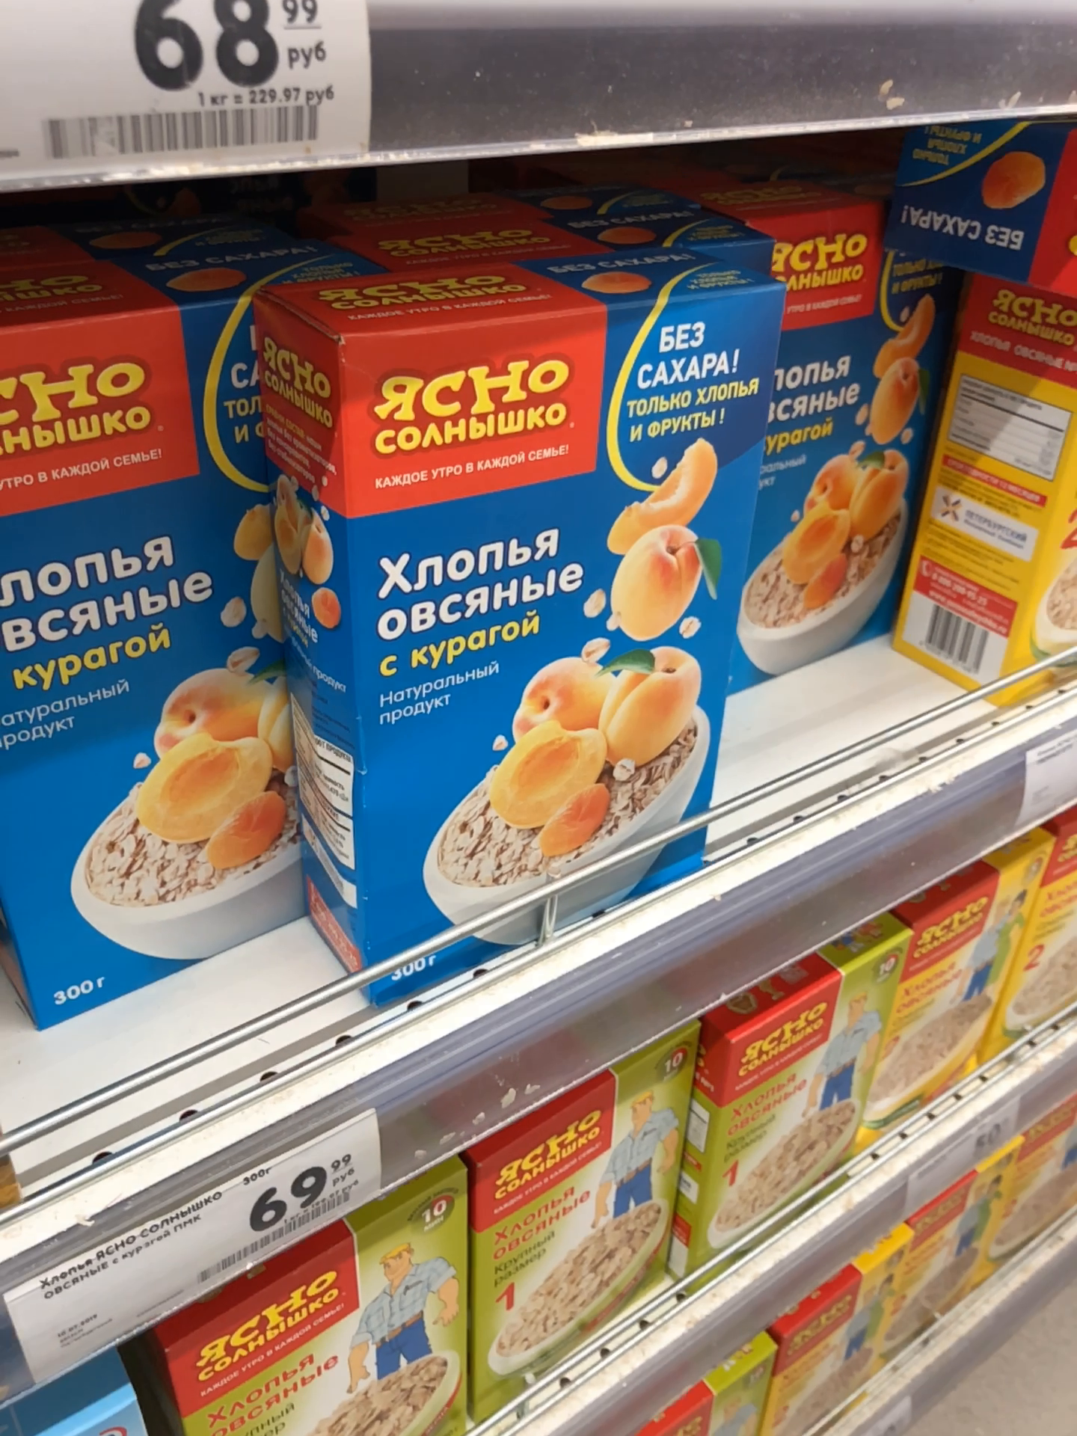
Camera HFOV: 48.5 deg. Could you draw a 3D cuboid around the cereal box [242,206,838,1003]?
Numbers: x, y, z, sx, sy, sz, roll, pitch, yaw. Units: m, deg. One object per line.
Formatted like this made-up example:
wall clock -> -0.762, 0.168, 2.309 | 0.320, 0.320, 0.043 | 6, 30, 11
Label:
cereal box -> 0.002, -0.034, 0.362 | 0.150, 0.209, 0.050 | -18, 38, -29
